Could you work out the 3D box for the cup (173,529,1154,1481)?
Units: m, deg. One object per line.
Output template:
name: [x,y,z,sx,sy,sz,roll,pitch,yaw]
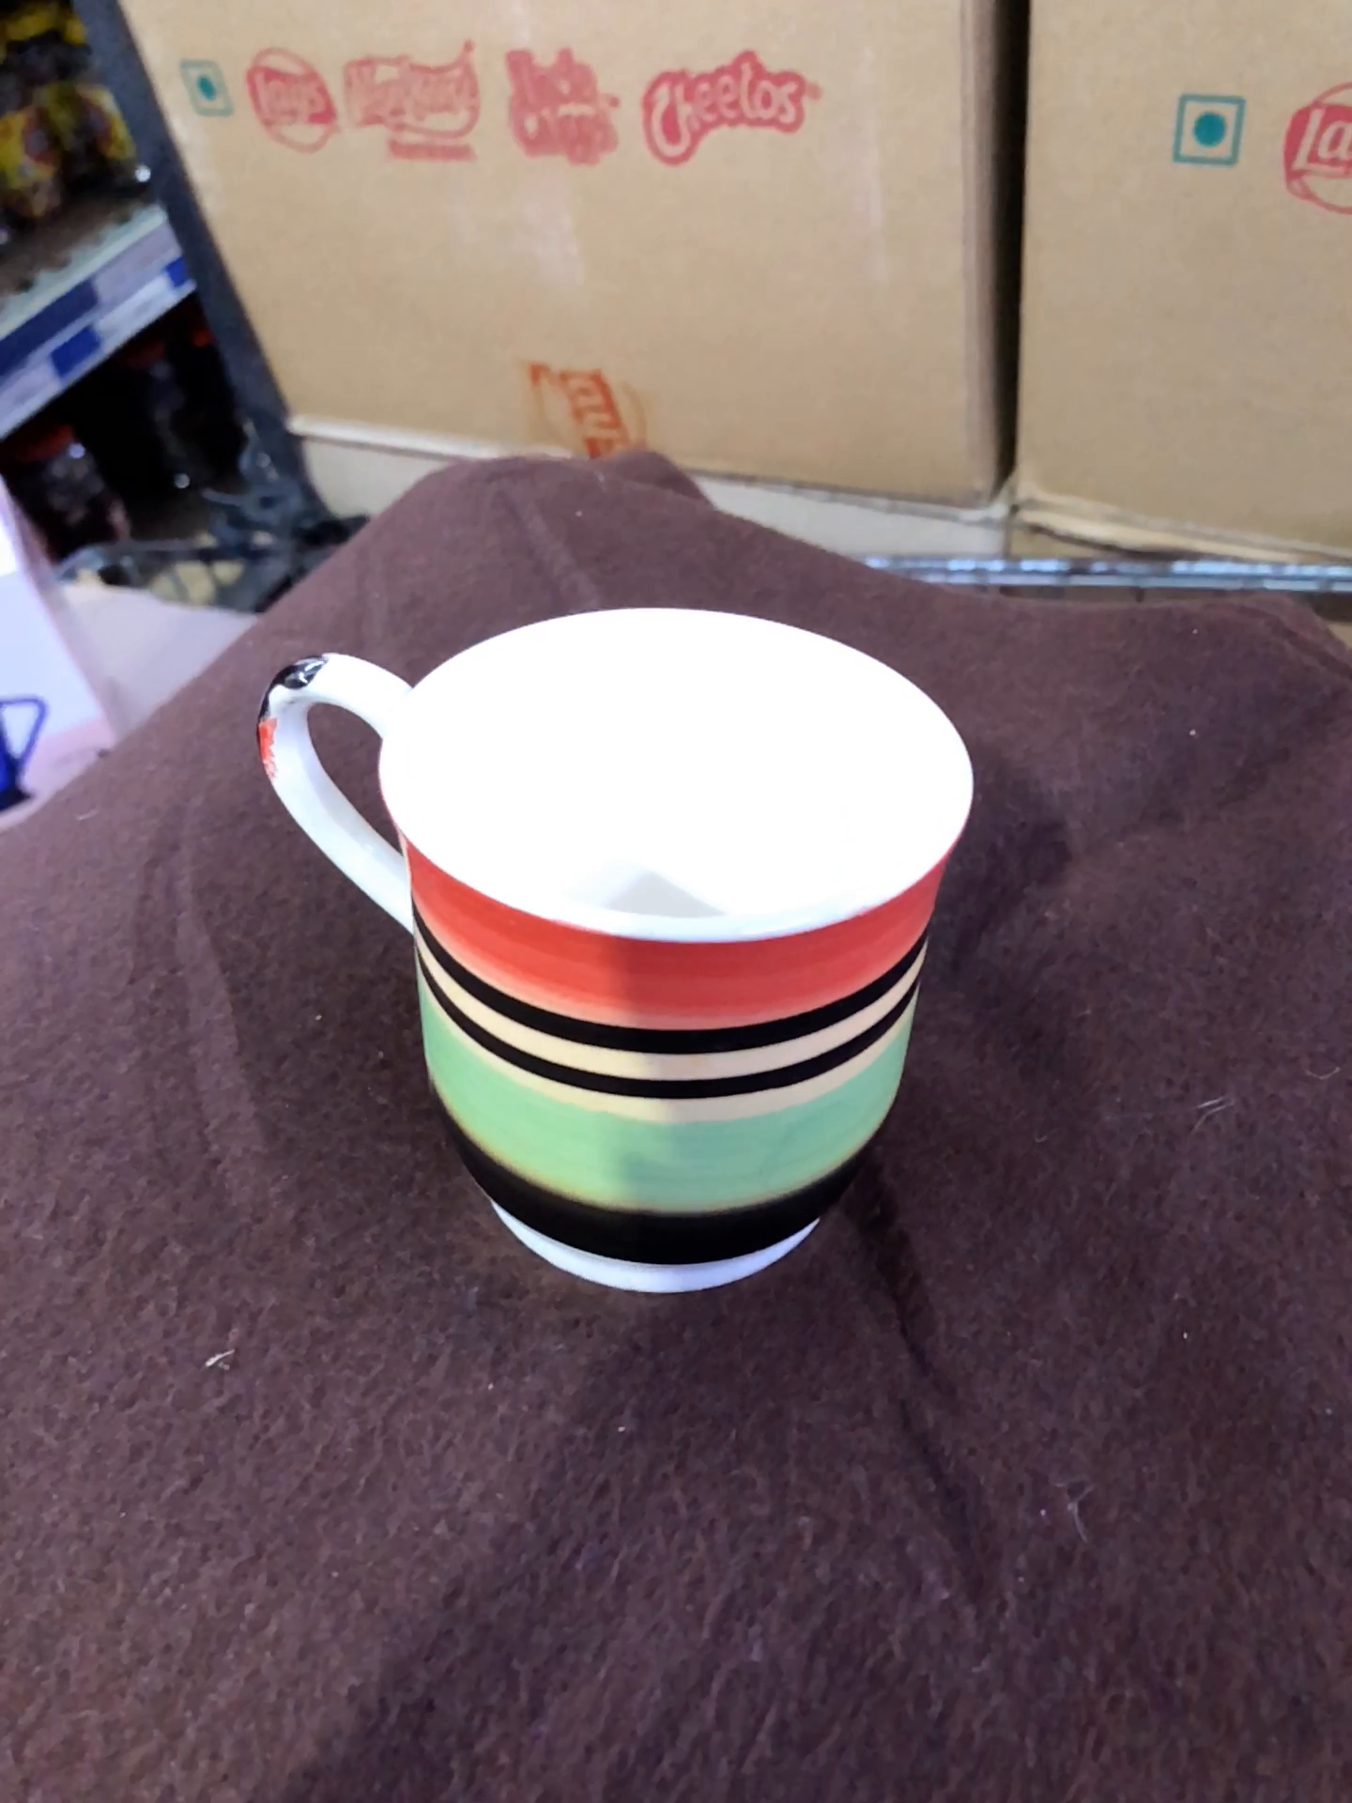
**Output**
cup: [0.000,0.006,0.196,0.090,0.070,0.070,21,41,28]
